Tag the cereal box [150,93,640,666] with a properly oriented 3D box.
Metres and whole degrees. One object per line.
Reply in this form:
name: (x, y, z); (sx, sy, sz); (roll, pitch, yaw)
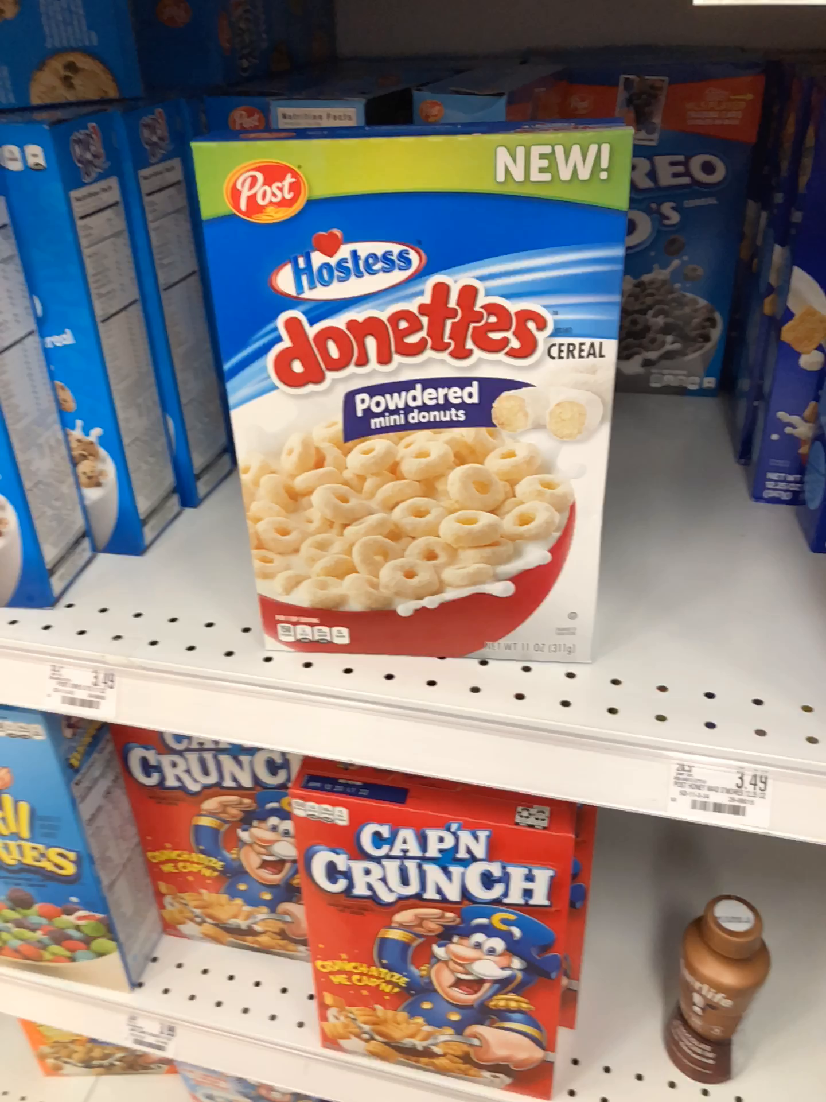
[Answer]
cereal box: (-0.002, -0.071, 0.442); (0.190, 0.259, 0.060); (2, 31, 7)
